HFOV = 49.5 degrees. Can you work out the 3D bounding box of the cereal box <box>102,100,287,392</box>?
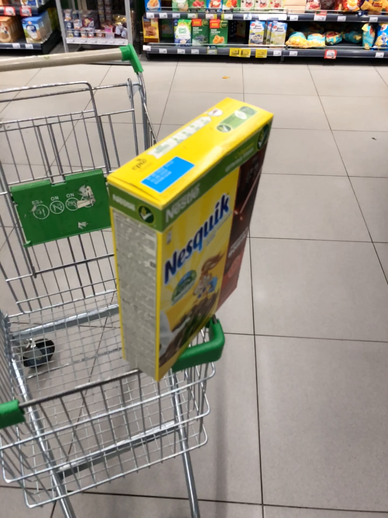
[{"bbox_3d":[0.002,-0.008,0.482,0.070,0.268,0.201,28,49,21],"label":"cereal box"}]
